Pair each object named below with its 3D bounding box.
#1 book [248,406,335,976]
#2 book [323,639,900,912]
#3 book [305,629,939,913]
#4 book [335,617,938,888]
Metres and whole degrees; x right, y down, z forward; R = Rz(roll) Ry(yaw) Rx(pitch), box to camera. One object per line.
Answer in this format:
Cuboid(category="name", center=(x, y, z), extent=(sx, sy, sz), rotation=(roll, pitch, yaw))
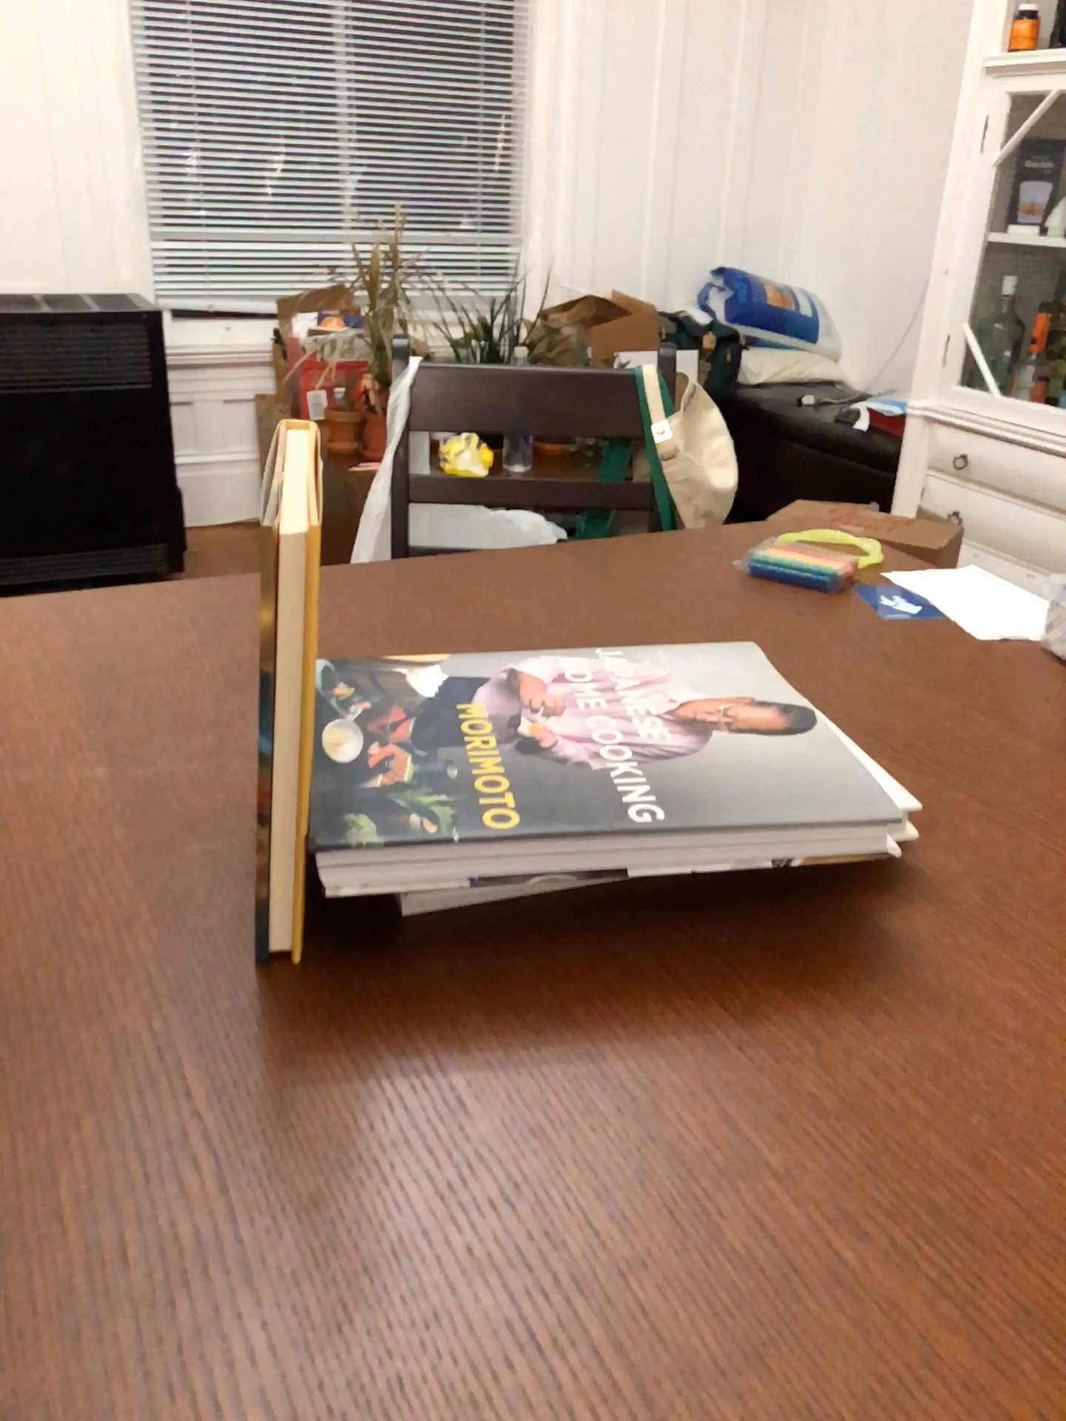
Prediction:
Cuboid(category="book", center=(-0.114, -0.022, 0.571), extent=(0.030, 0.209, 0.211), rotation=(0, 25, -9))
Cuboid(category="book", center=(0.033, 0.024, 0.697), extent=(0.280, 0.030, 0.221), rotation=(-7, 26, -17))
Cuboid(category="book", center=(0.026, 0.017, 0.607), extent=(0.280, 0.030, 0.221), rotation=(-4, 25, -10))
Cuboid(category="book", center=(0.043, 0.009, 0.663), extent=(0.280, 0.030, 0.221), rotation=(-6, 25, -15))
